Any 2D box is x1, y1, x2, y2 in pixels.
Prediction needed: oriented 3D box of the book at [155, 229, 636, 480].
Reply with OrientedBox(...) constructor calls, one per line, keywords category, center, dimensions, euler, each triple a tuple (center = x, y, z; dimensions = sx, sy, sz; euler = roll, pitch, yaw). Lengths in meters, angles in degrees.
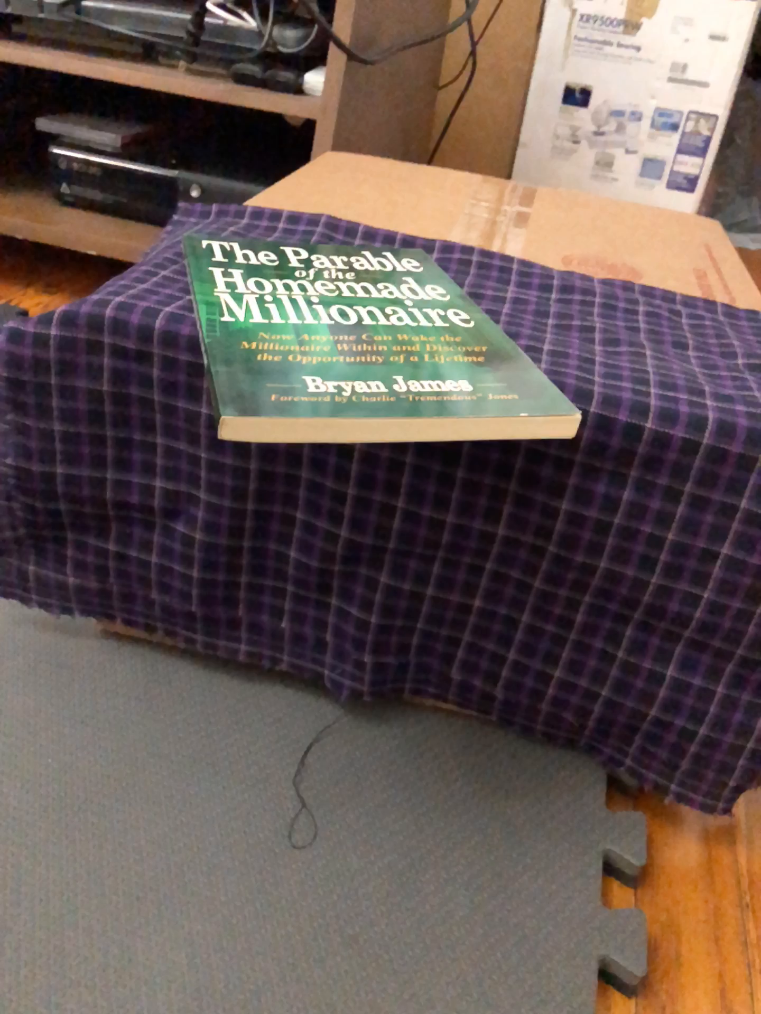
OrientedBox(category="book", center=(-0.012, -0.078, 0.370), dimensions=(0.160, 0.020, 0.211), euler=(-2, 34, -16))
